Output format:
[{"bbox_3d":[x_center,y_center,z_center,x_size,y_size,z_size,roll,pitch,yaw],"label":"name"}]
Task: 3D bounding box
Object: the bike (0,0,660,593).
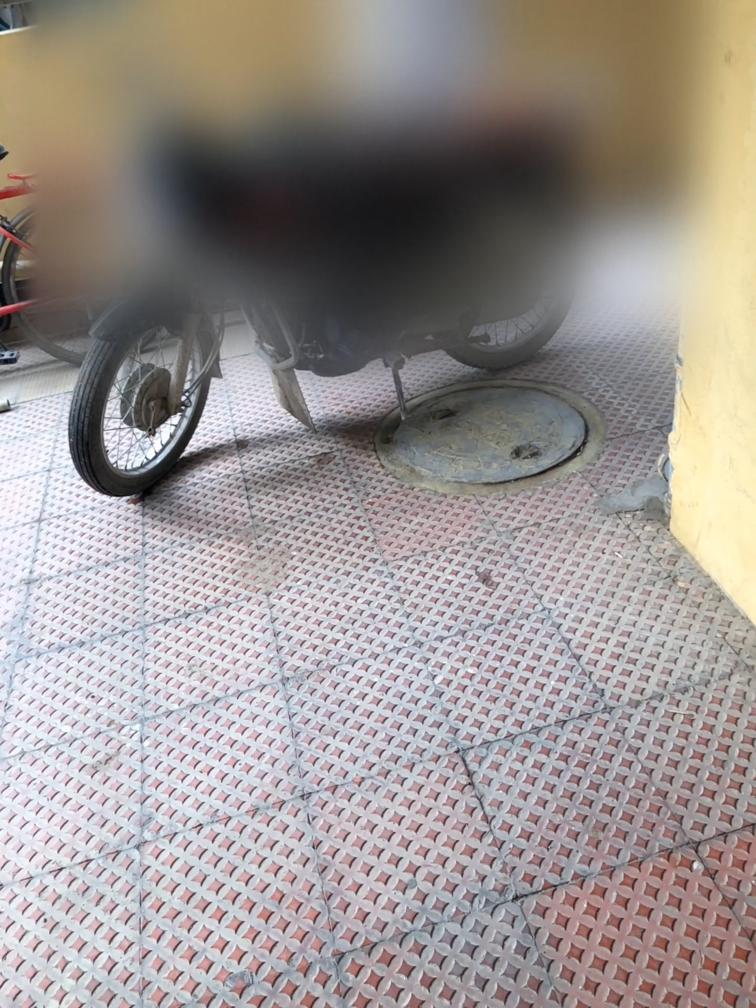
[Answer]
[{"bbox_3d":[-0.130,-0.685,2.278,1.600,0.974,0.762,-26,37,-20],"label":"bike"}]
